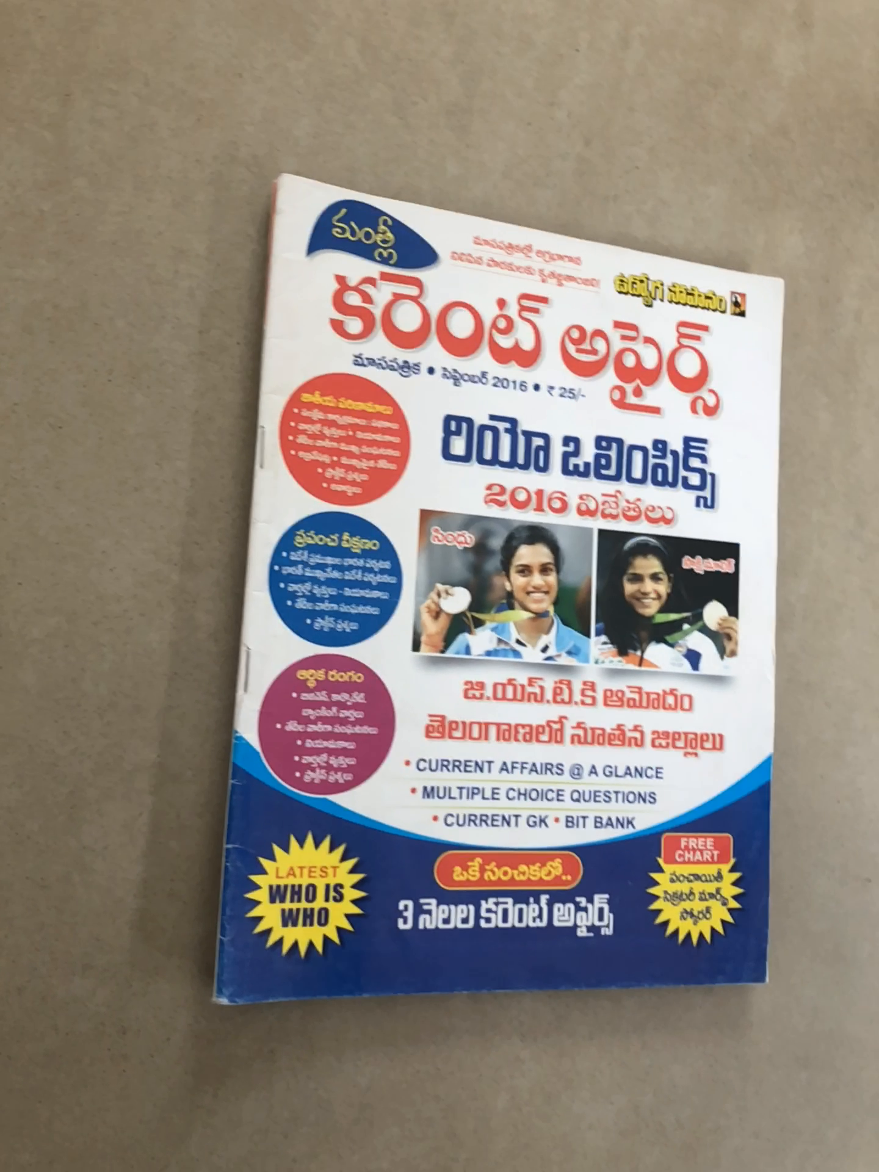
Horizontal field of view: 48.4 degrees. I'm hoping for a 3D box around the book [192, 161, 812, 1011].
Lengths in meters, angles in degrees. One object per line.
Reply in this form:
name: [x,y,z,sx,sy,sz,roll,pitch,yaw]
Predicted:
book: [0.033,0.004,0.328,0.200,0.010,0.260,6,83,-16]
